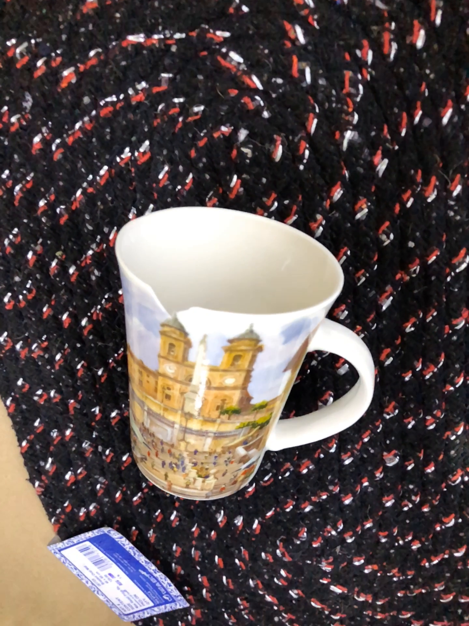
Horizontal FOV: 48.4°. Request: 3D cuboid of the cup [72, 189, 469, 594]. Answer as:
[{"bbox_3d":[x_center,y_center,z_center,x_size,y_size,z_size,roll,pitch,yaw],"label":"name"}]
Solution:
[{"bbox_3d":[0.006,0.027,0.206,0.110,0.090,0.110,2,120,3],"label":"cup"}]
